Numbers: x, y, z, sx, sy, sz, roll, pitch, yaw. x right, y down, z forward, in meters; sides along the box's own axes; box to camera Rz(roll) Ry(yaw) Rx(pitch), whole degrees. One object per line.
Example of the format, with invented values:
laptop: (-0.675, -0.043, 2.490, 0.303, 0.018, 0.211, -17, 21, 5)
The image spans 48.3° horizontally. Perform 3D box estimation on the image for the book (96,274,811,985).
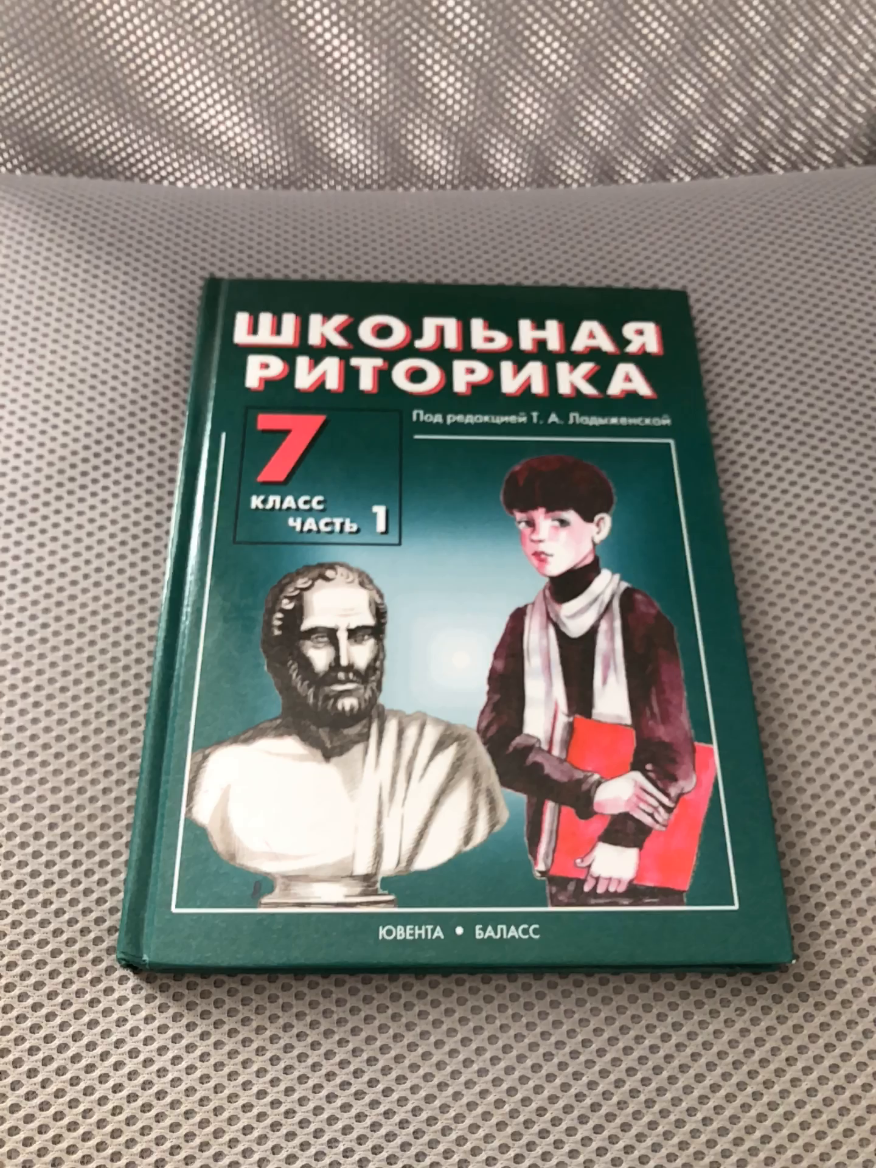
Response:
book: (0.003, 0.002, 0.287, 0.167, 0.030, 0.211, 0, 64, -3)
